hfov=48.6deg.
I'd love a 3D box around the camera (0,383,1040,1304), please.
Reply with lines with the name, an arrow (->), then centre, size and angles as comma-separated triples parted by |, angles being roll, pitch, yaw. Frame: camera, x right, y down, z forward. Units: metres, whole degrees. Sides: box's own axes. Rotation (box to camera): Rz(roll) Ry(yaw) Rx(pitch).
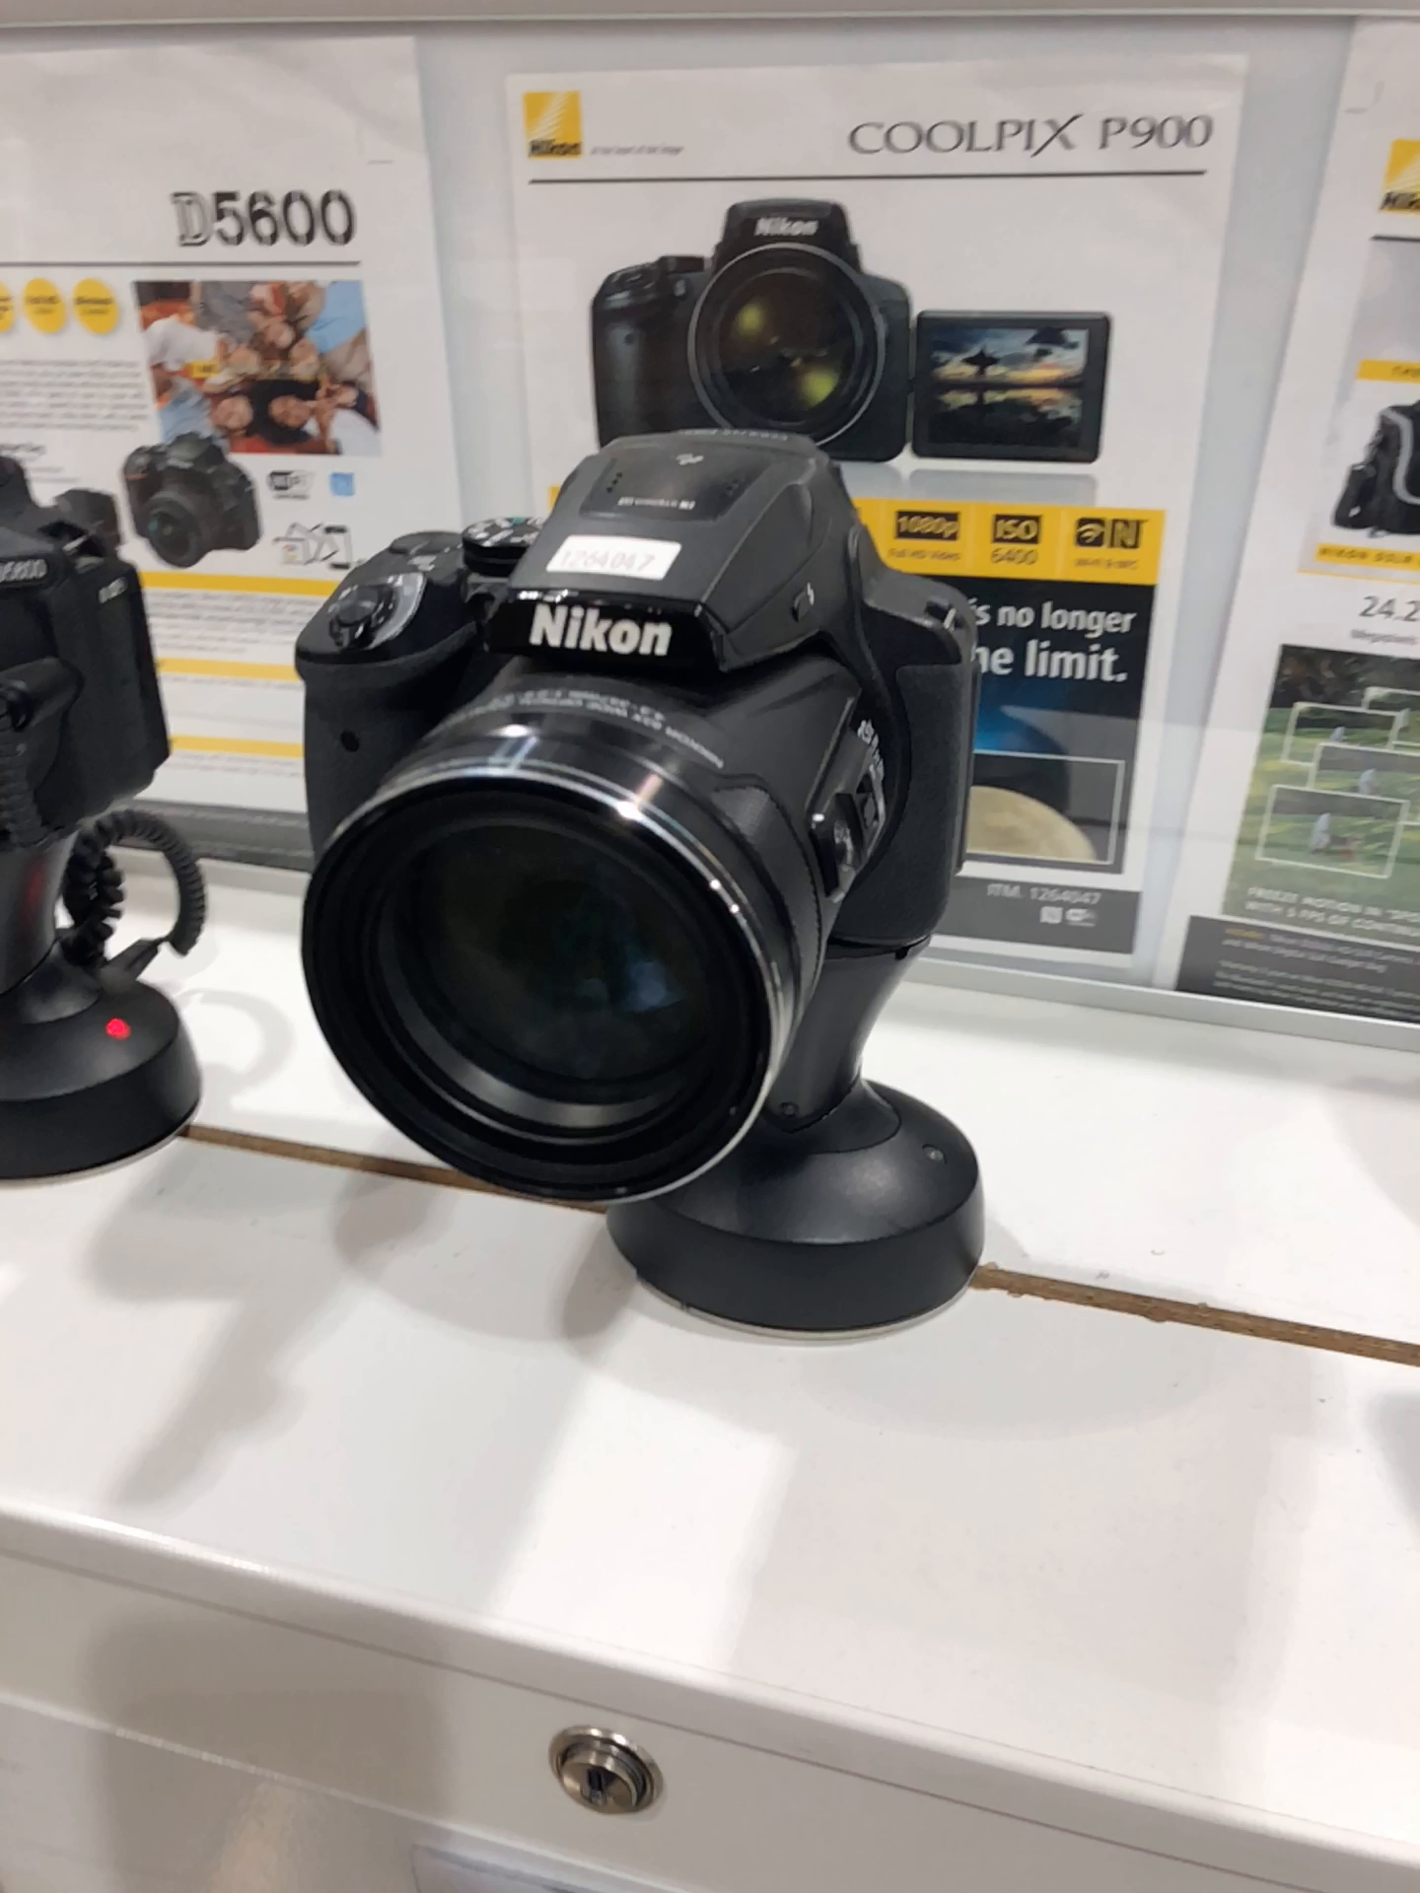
camera -> -0.020, -0.037, 0.291 | 0.140, 0.100, 0.161 | 7, 29, 12
